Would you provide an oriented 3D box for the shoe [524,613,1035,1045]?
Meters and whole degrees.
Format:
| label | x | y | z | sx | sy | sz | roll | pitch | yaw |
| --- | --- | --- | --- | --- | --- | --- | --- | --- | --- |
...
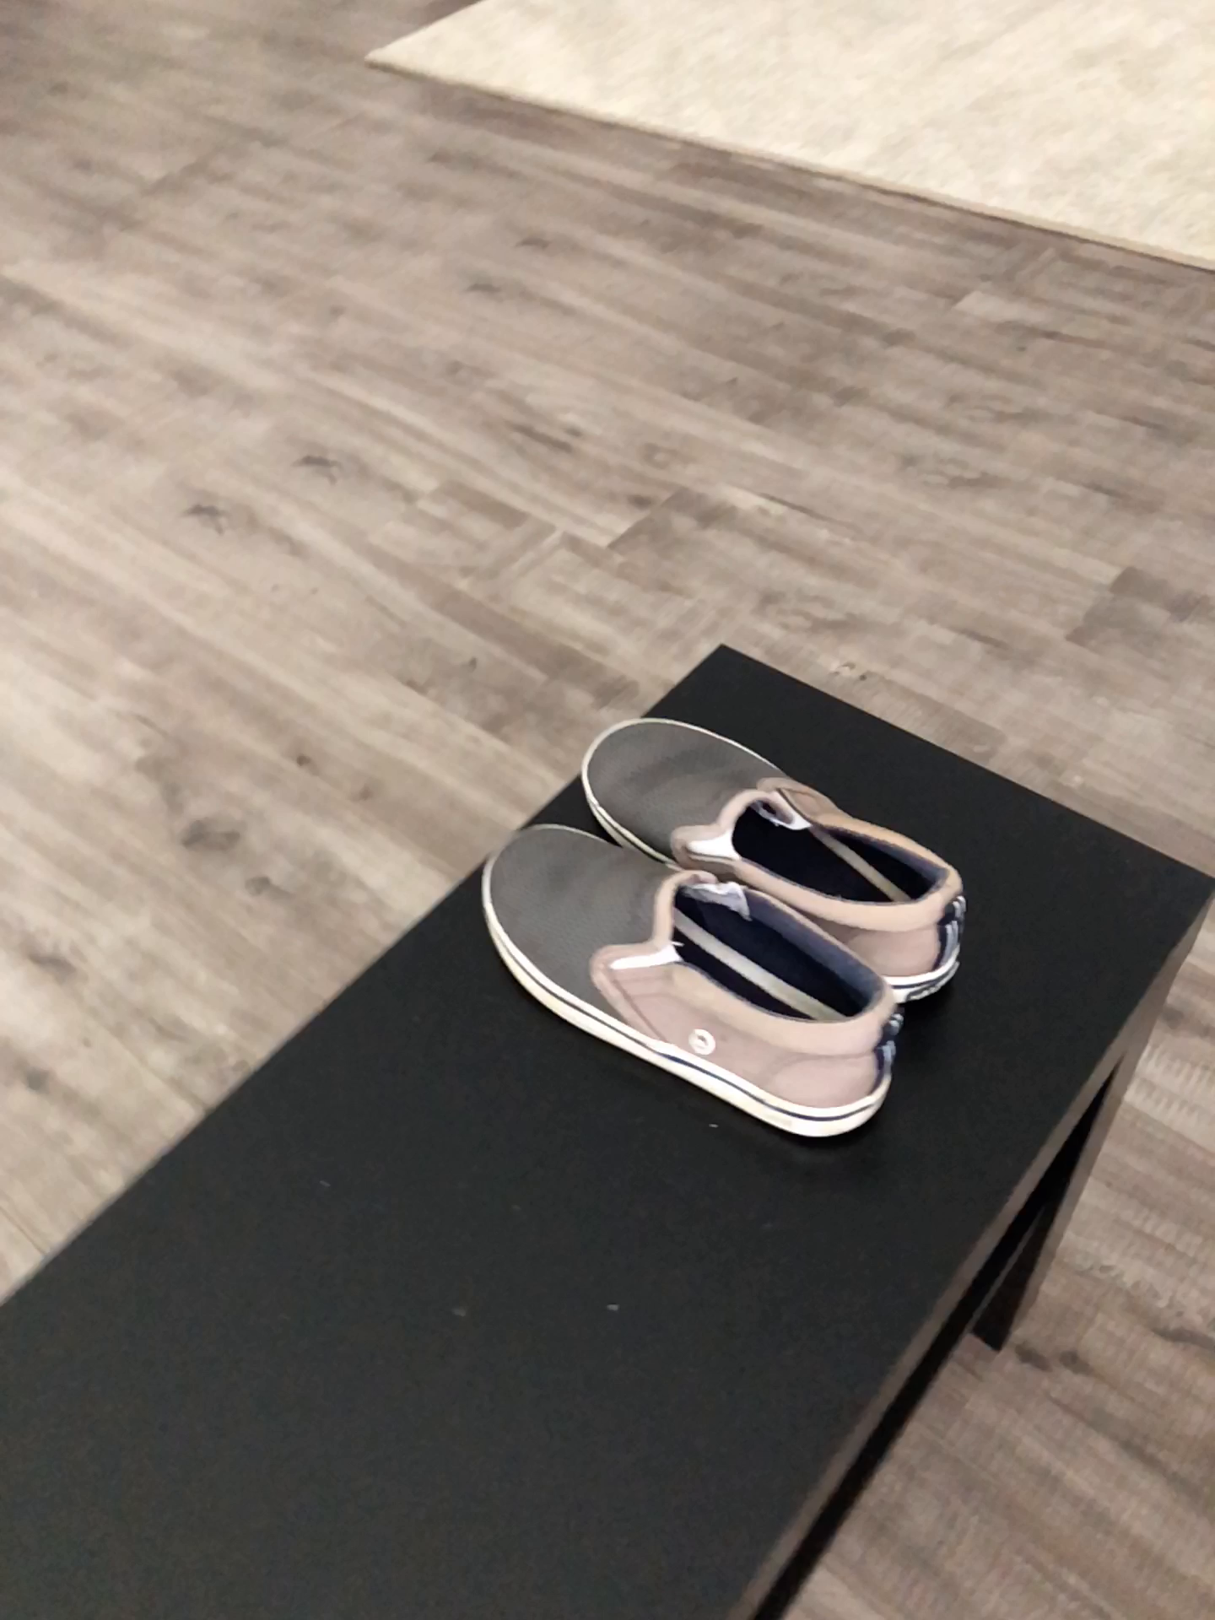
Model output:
| label | x | y | z | sx | sy | sz | roll | pitch | yaw |
| --- | --- | --- | --- | --- | --- | --- | --- | --- | --- |
| shoe | 0.065 | 0.001 | 0.552 | 0.191 | 0.070 | 0.077 | 31 | 57 | 30 |

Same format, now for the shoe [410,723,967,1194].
| label | x | y | z | sx | sy | sz | roll | pitch | yaw |
| --- | --- | --- | --- | --- | --- | --- | --- | --- | --- |
| shoe | 0.027 | 0.050 | 0.508 | 0.191 | 0.070 | 0.077 | 26 | 55 | 27 |
